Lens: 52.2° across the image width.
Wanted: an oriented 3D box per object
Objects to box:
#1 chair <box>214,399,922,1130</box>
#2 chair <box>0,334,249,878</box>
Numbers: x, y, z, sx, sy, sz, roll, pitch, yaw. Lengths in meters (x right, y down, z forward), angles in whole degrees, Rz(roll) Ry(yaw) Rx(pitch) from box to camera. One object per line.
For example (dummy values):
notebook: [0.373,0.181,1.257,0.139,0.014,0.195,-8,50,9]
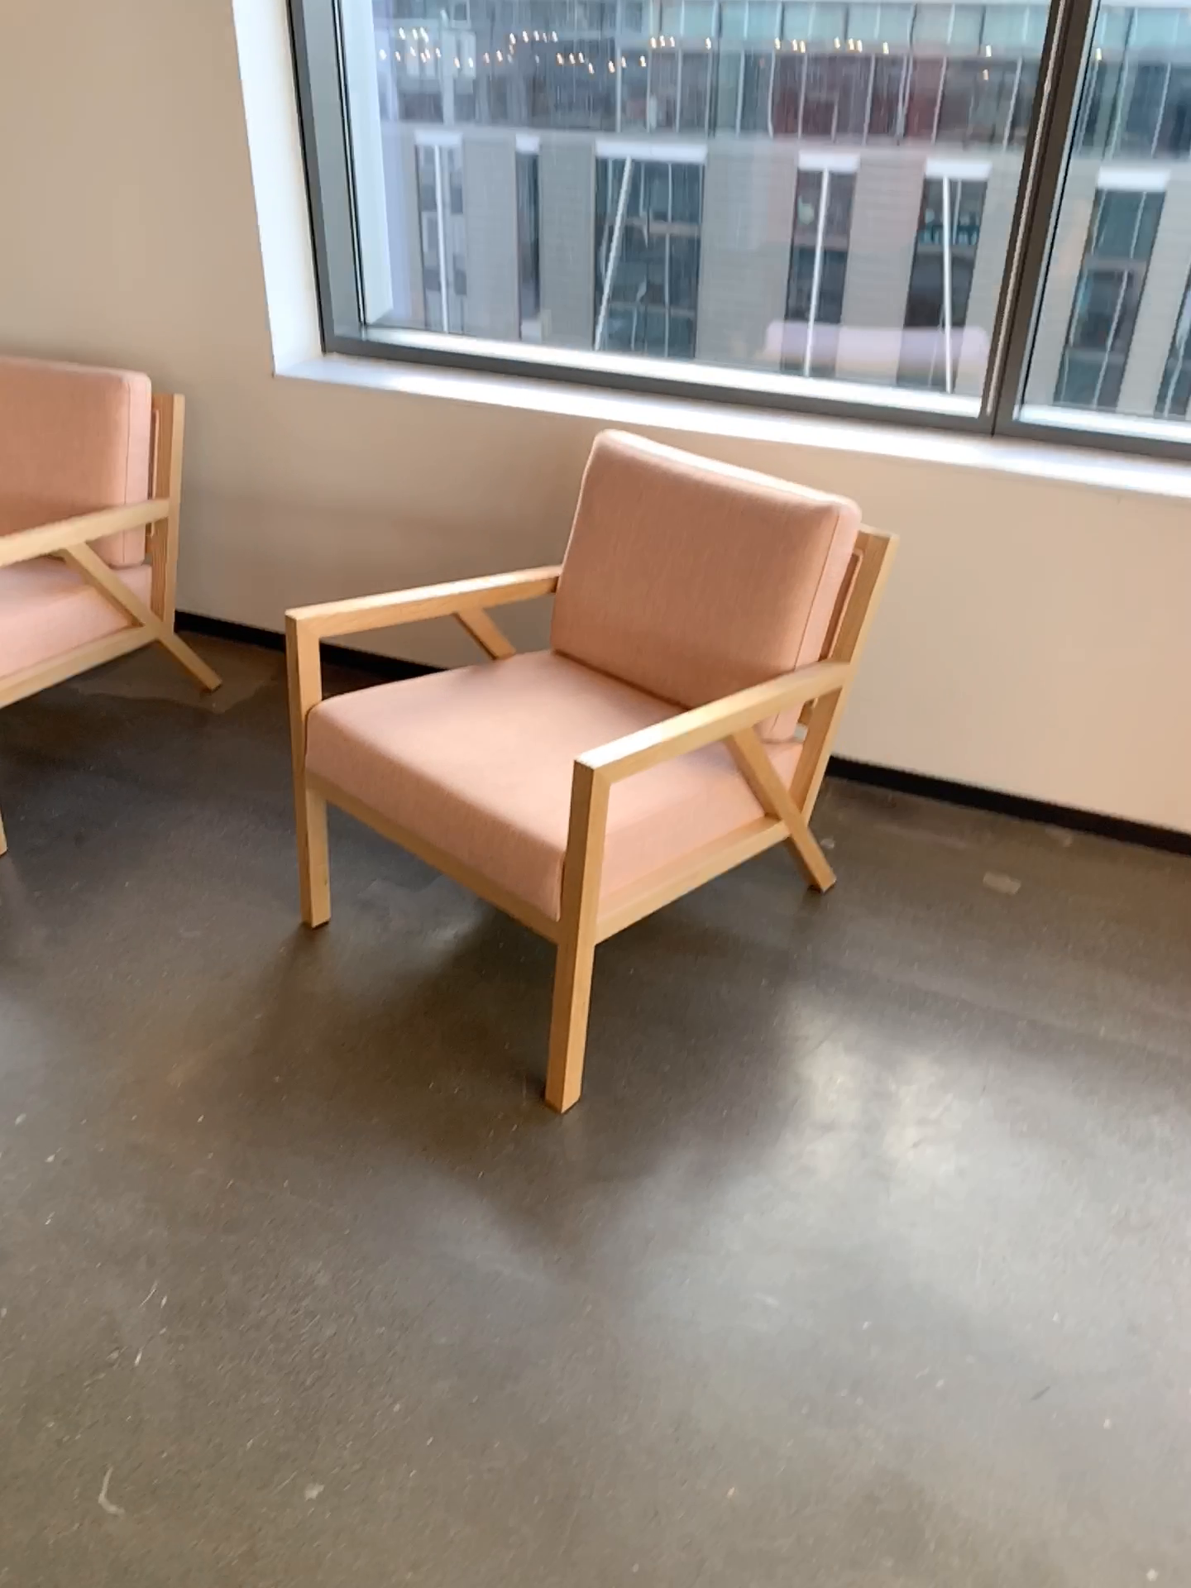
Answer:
chair: [-0.045,-0.127,2.035,0.743,0.795,0.771,27,39,36]
chair: [-1.331,-0.445,2.563,0.742,0.795,0.773,13,34,19]
